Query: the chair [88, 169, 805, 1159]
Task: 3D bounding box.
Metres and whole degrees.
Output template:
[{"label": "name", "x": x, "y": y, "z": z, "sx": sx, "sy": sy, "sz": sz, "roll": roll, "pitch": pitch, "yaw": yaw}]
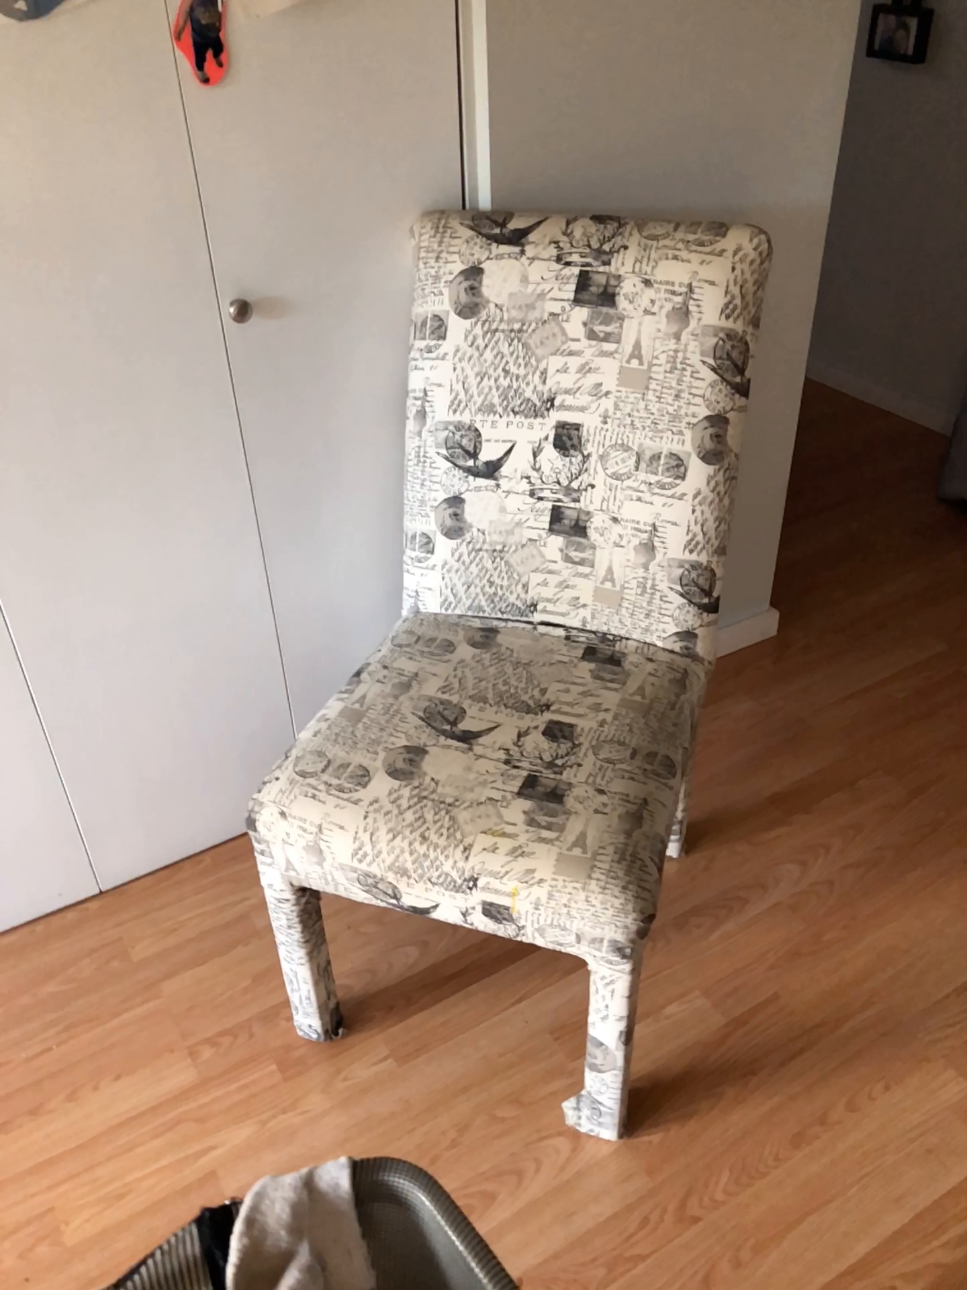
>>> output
[{"label": "chair", "x": 0.037, "y": 0.004, "z": 1.368, "sx": 0.520, "sy": 0.997, "sz": 0.672, "roll": 11, "pitch": 37, "yaw": 17}]
